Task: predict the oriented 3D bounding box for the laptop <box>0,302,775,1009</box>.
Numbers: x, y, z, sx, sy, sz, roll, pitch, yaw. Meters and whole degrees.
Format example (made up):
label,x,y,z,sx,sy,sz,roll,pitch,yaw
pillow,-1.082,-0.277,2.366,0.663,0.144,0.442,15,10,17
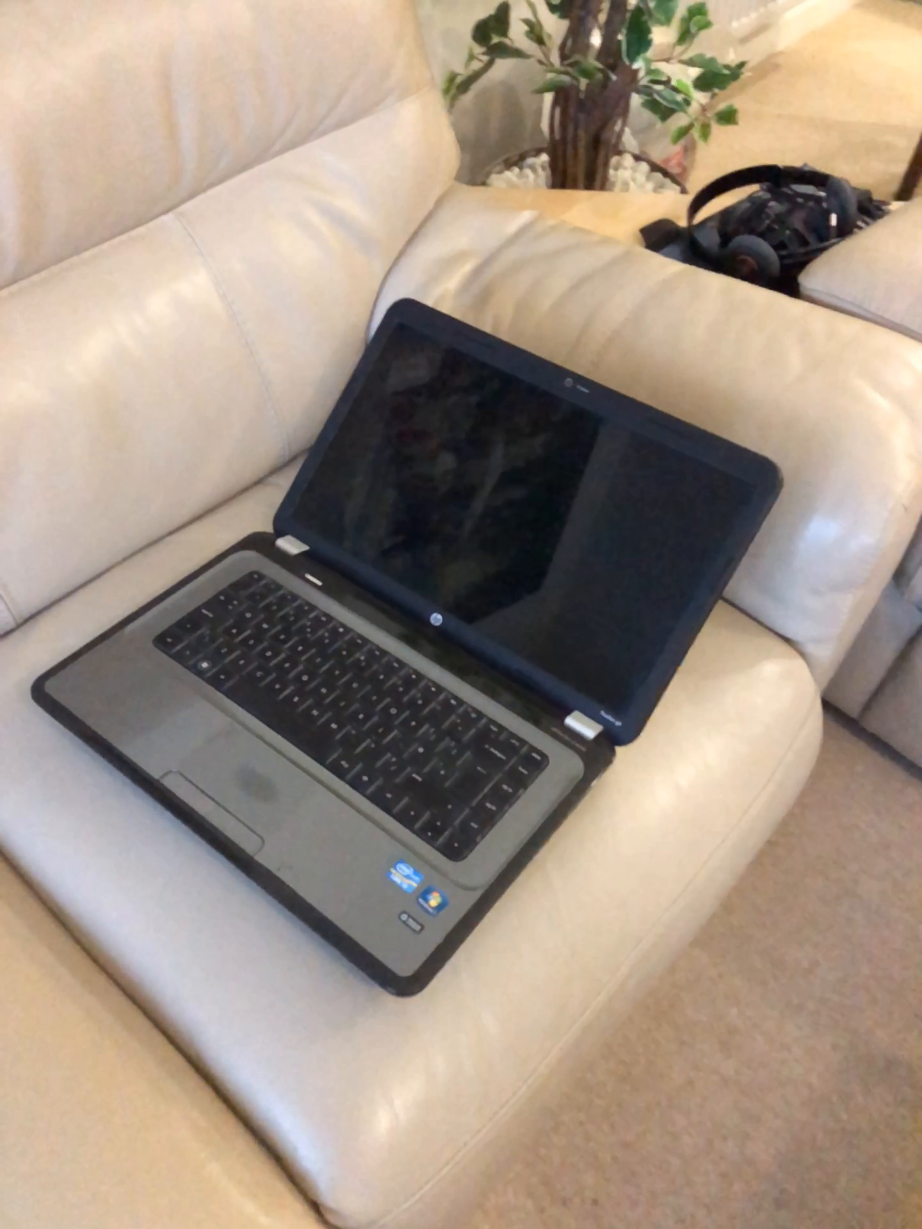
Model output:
label,x,y,z,sx,sy,sz,roll,pitch,yaw
laptop,-0.044,-0.016,0.732,0.358,0.114,0.425,32,56,21
